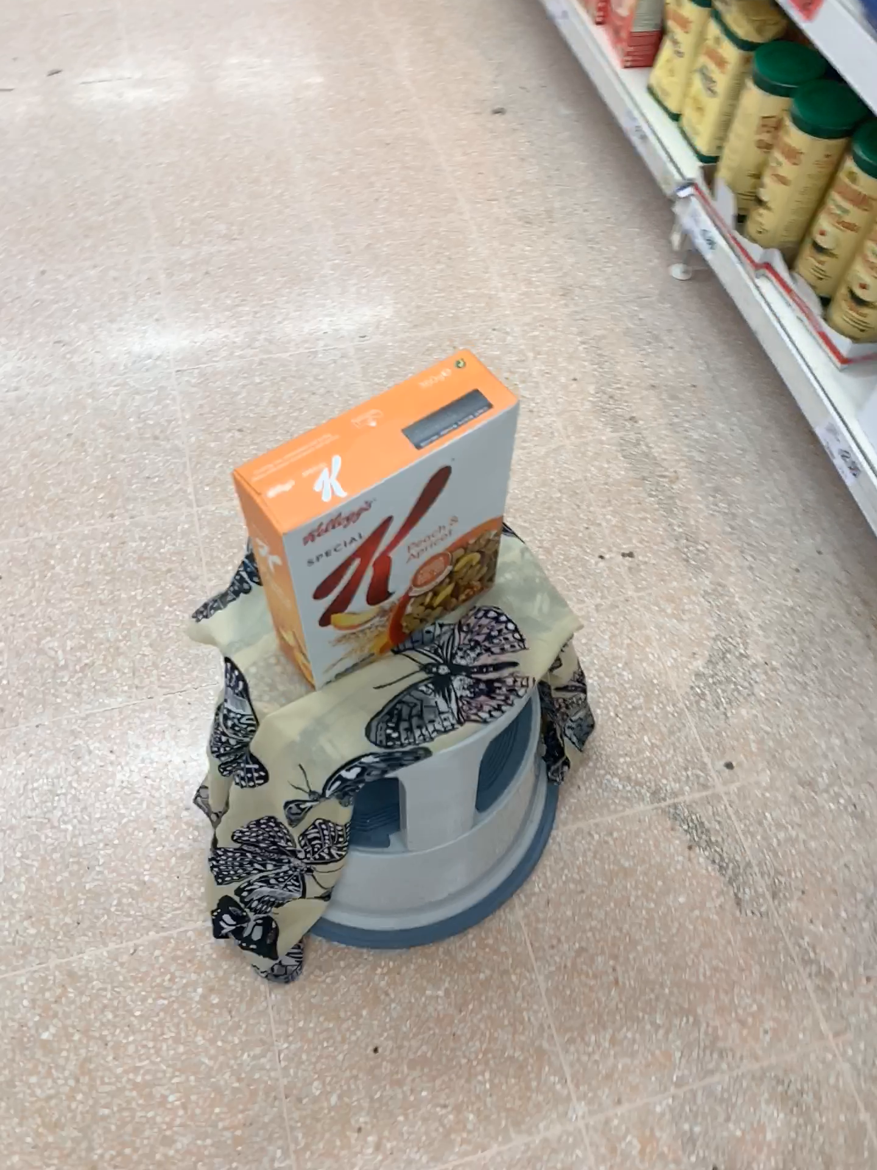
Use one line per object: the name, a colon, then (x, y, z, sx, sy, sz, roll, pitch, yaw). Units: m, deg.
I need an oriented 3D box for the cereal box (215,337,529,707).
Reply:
cereal box: (-0.047, -0.036, 0.705, 0.211, 0.268, 0.060, -31, 66, -20)
